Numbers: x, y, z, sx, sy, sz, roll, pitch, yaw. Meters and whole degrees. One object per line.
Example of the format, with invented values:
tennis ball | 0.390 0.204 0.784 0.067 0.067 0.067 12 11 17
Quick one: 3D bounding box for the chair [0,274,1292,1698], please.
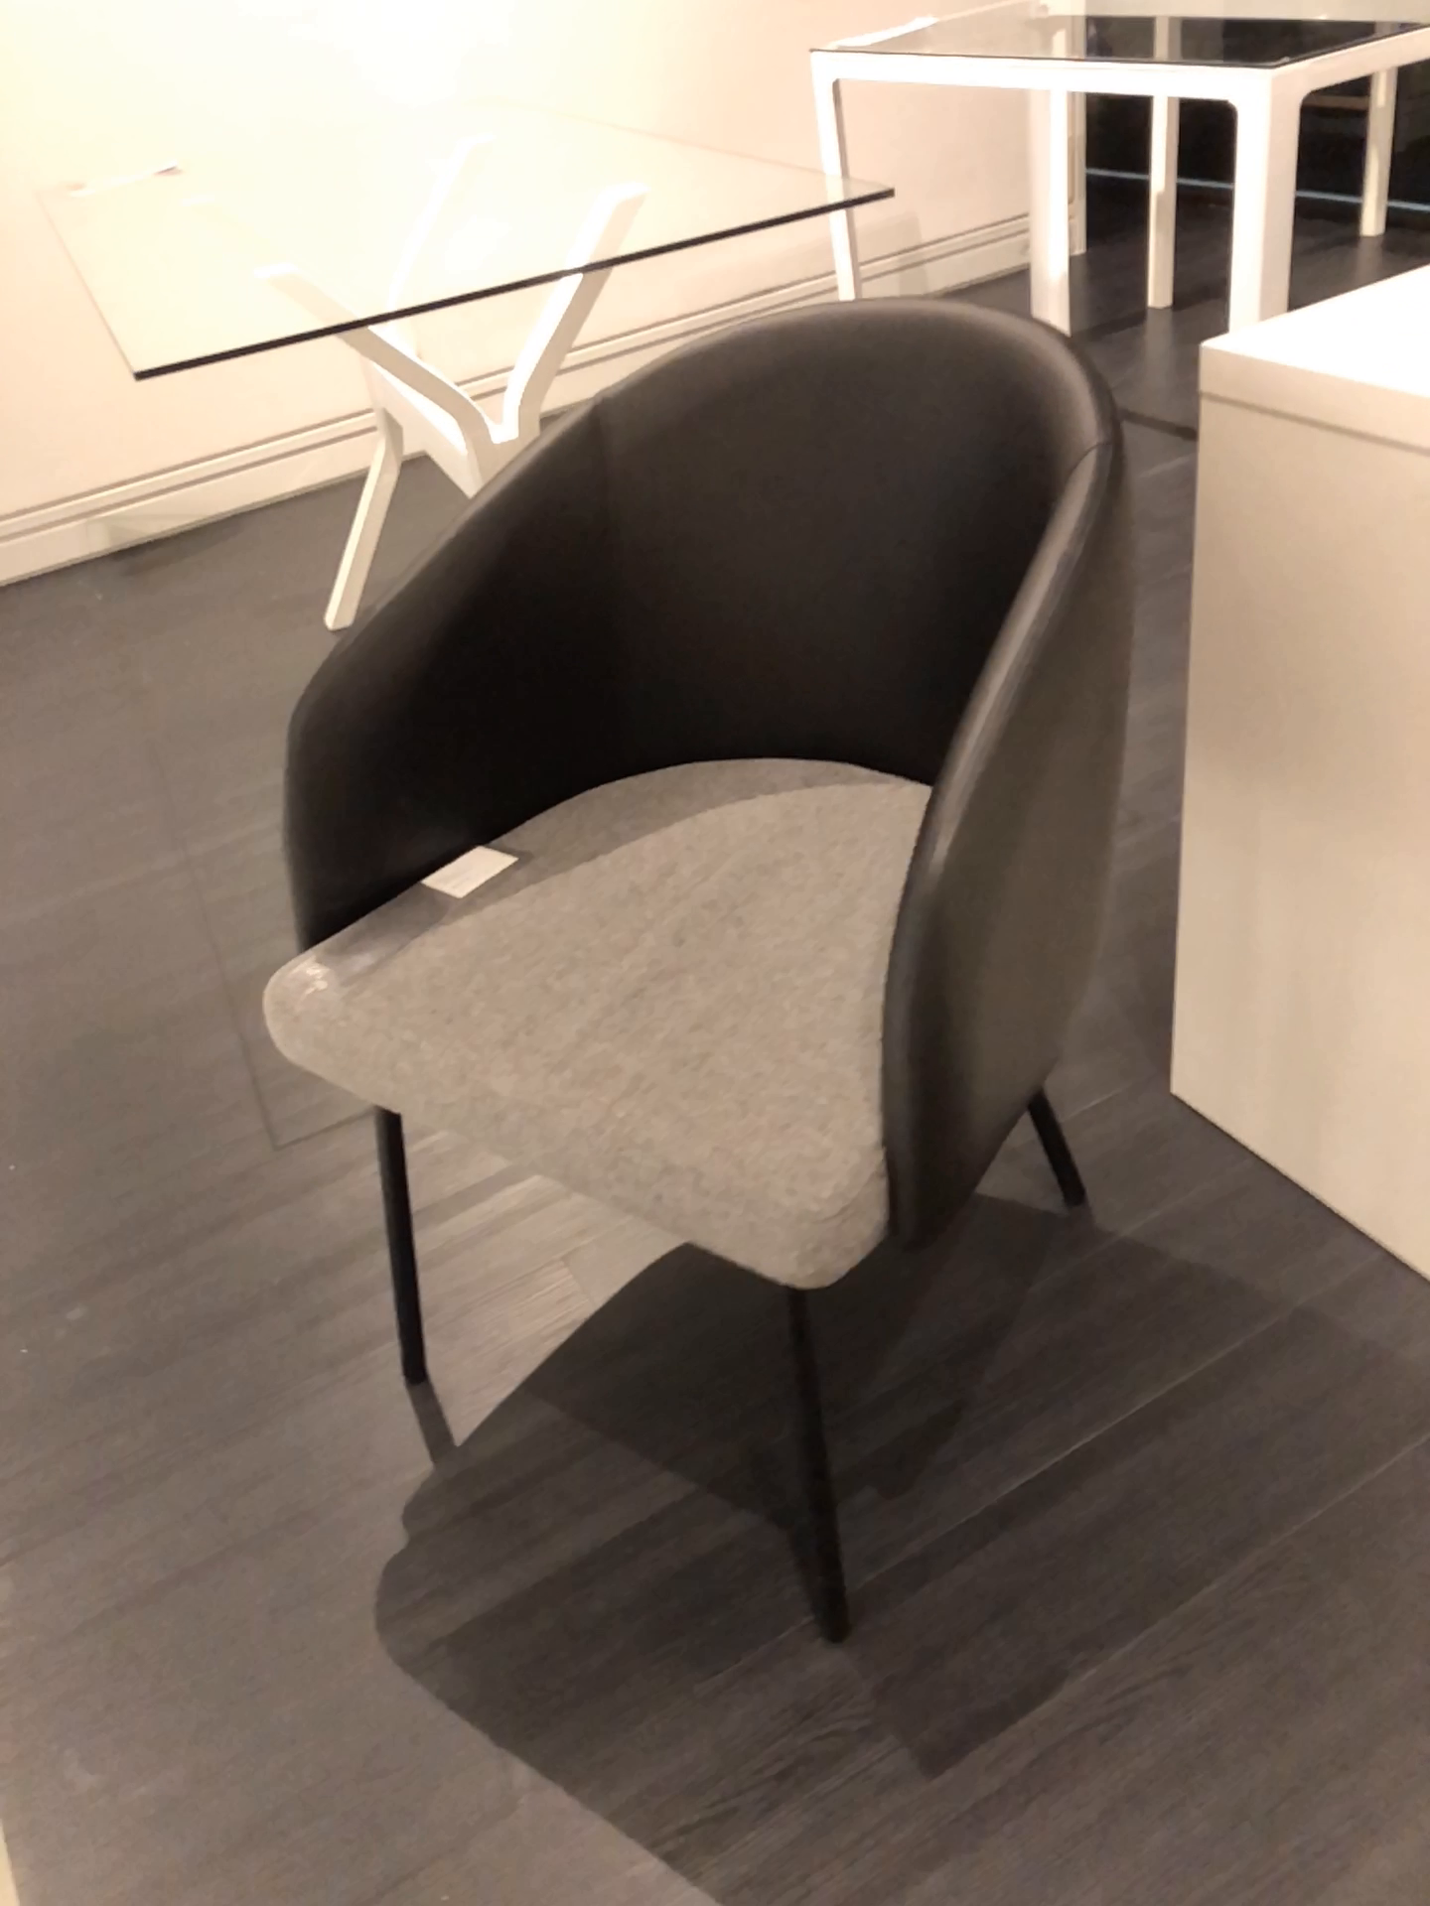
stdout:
chair | 0.005 -0.034 1.215 0.612 0.764 0.593 19 44 35
